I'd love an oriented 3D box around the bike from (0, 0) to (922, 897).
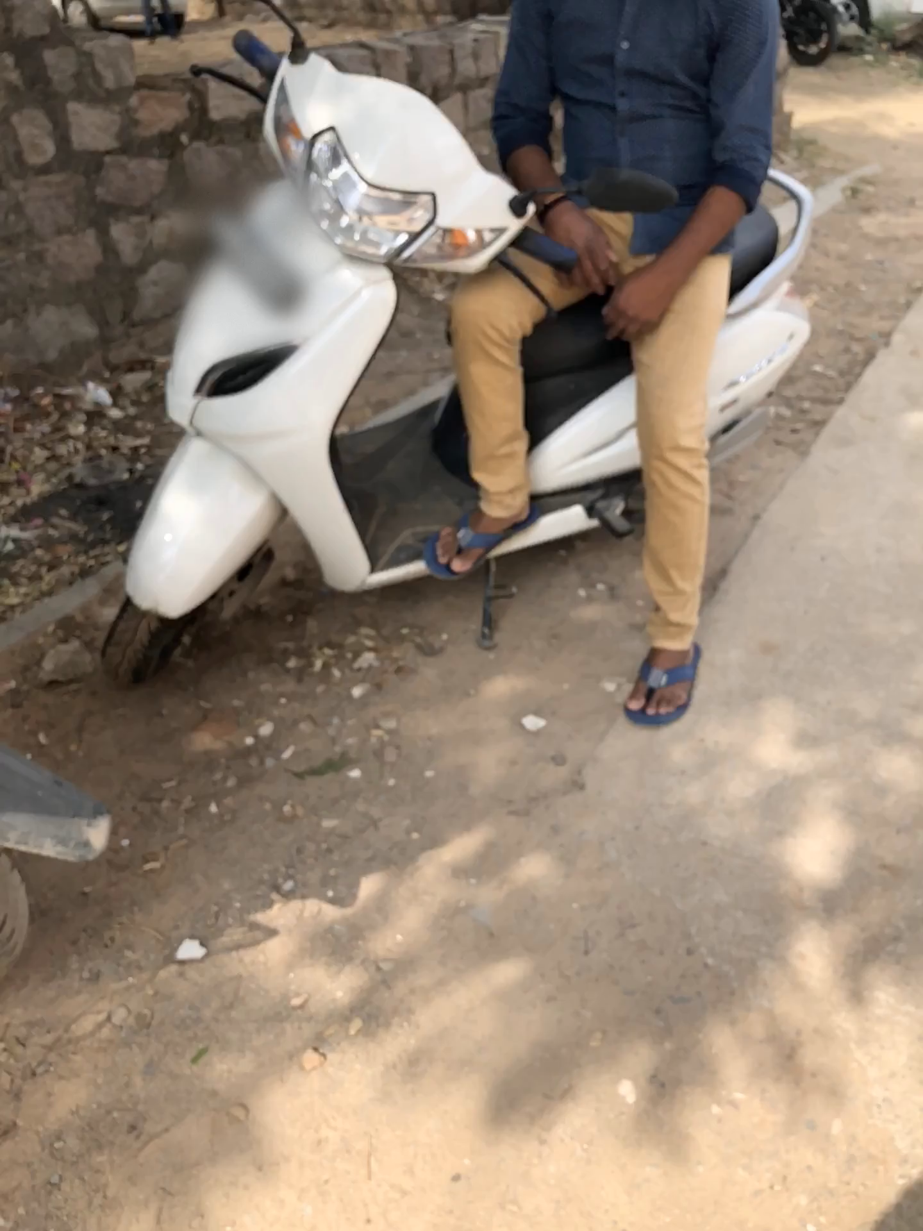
[{"bbox_3d":[0.074,-0.453,1.921,1.595,1.200,0.622,-24,40,-31],"label":"bike"}]
